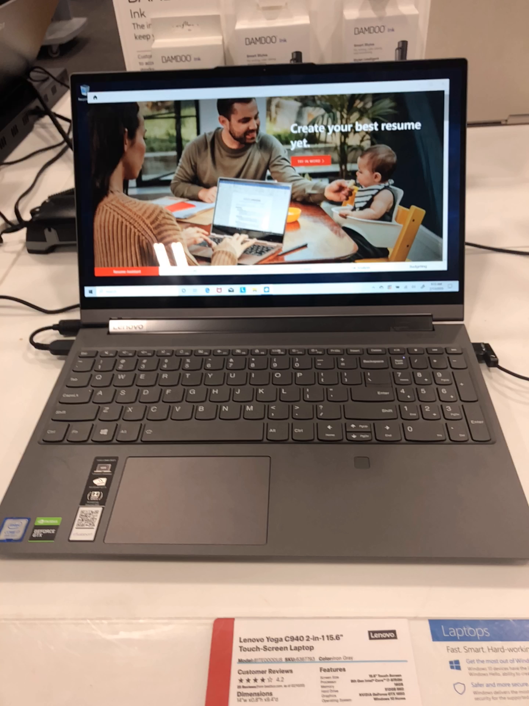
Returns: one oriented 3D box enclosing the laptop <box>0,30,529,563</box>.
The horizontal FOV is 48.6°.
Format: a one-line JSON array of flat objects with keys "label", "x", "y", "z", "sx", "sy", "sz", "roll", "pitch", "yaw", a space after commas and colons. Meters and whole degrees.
[{"label": "laptop", "x": -0.002, "y": -0.074, "z": 0.445, "sx": 0.336, "sy": 0.169, "sz": 0.376, "roll": 0, "pitch": 47, "yaw": 3}]
